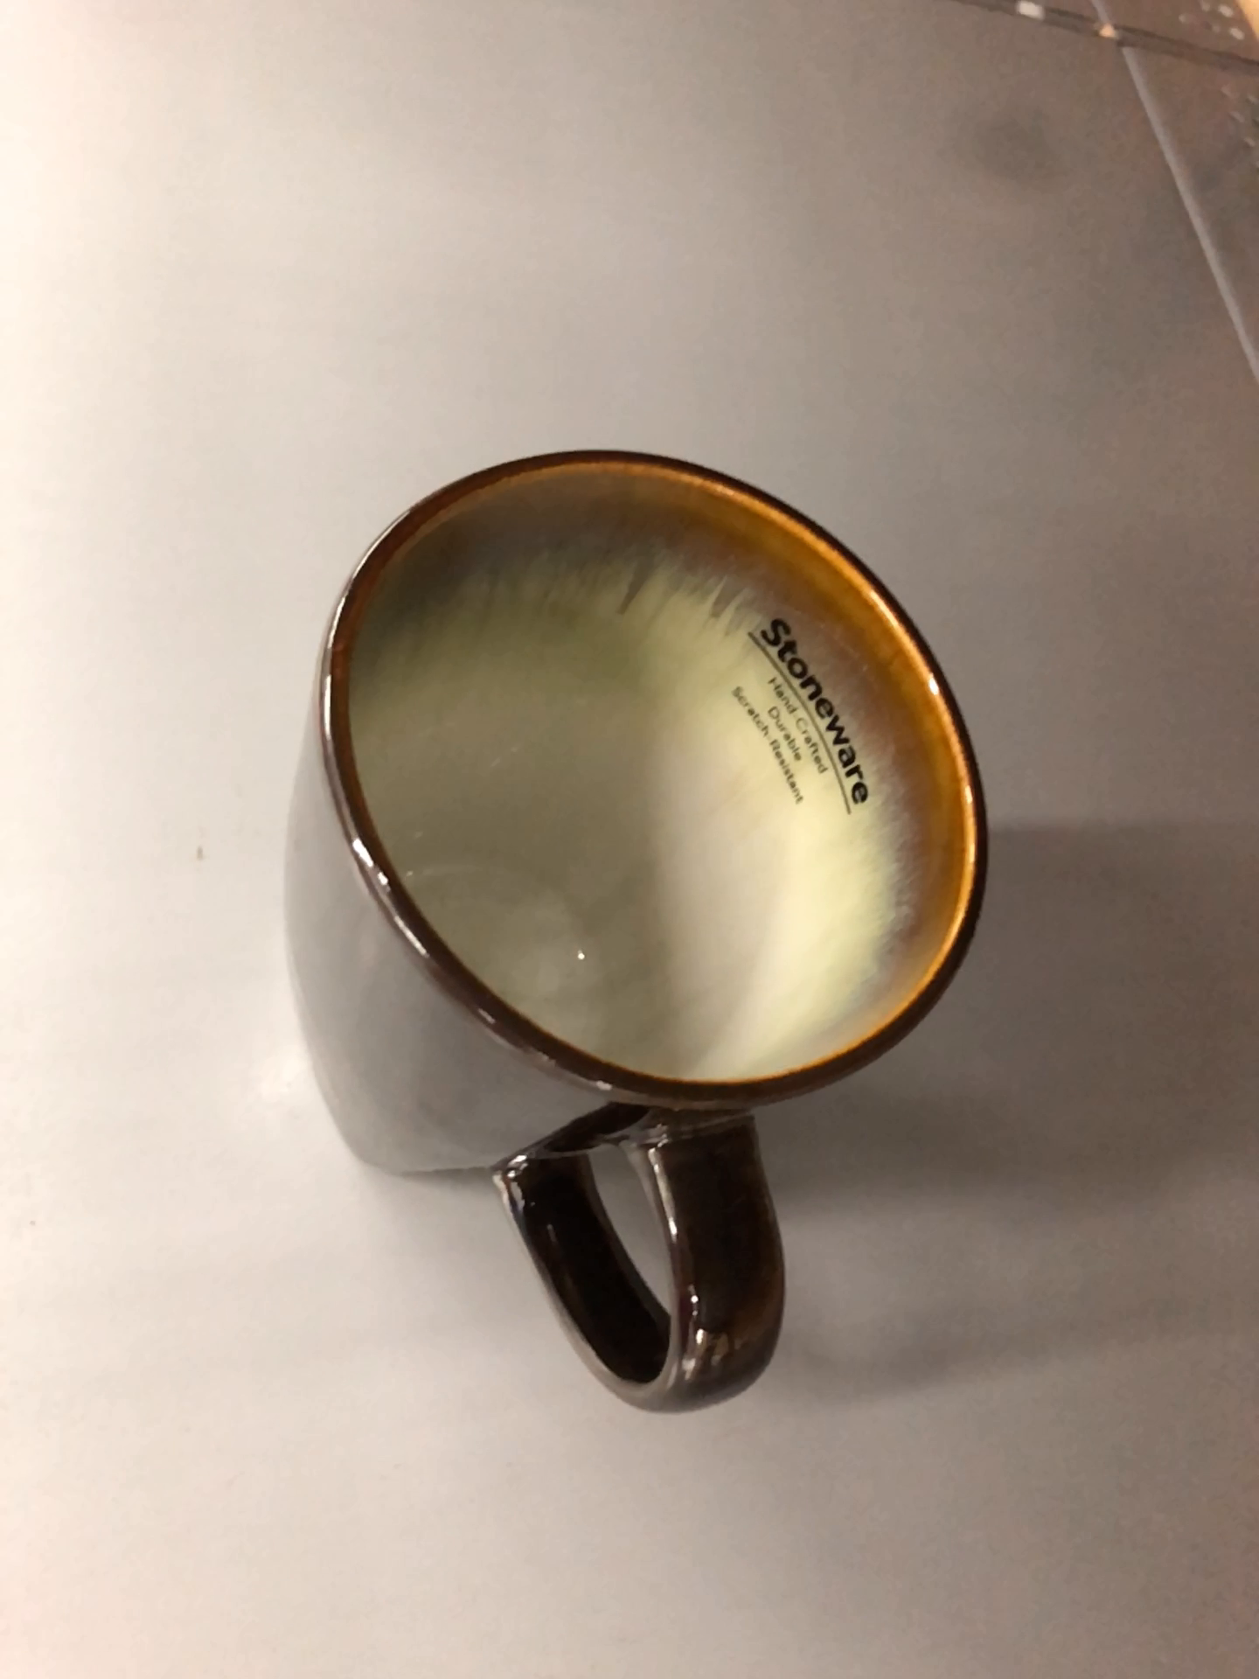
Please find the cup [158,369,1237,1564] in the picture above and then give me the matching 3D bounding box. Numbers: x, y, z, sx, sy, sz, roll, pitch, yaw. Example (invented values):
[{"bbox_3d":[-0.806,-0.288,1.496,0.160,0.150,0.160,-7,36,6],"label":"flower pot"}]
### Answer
[{"bbox_3d":[-0.005,0.017,0.214,0.095,0.099,0.135,-9,72,-27],"label":"cup"}]
